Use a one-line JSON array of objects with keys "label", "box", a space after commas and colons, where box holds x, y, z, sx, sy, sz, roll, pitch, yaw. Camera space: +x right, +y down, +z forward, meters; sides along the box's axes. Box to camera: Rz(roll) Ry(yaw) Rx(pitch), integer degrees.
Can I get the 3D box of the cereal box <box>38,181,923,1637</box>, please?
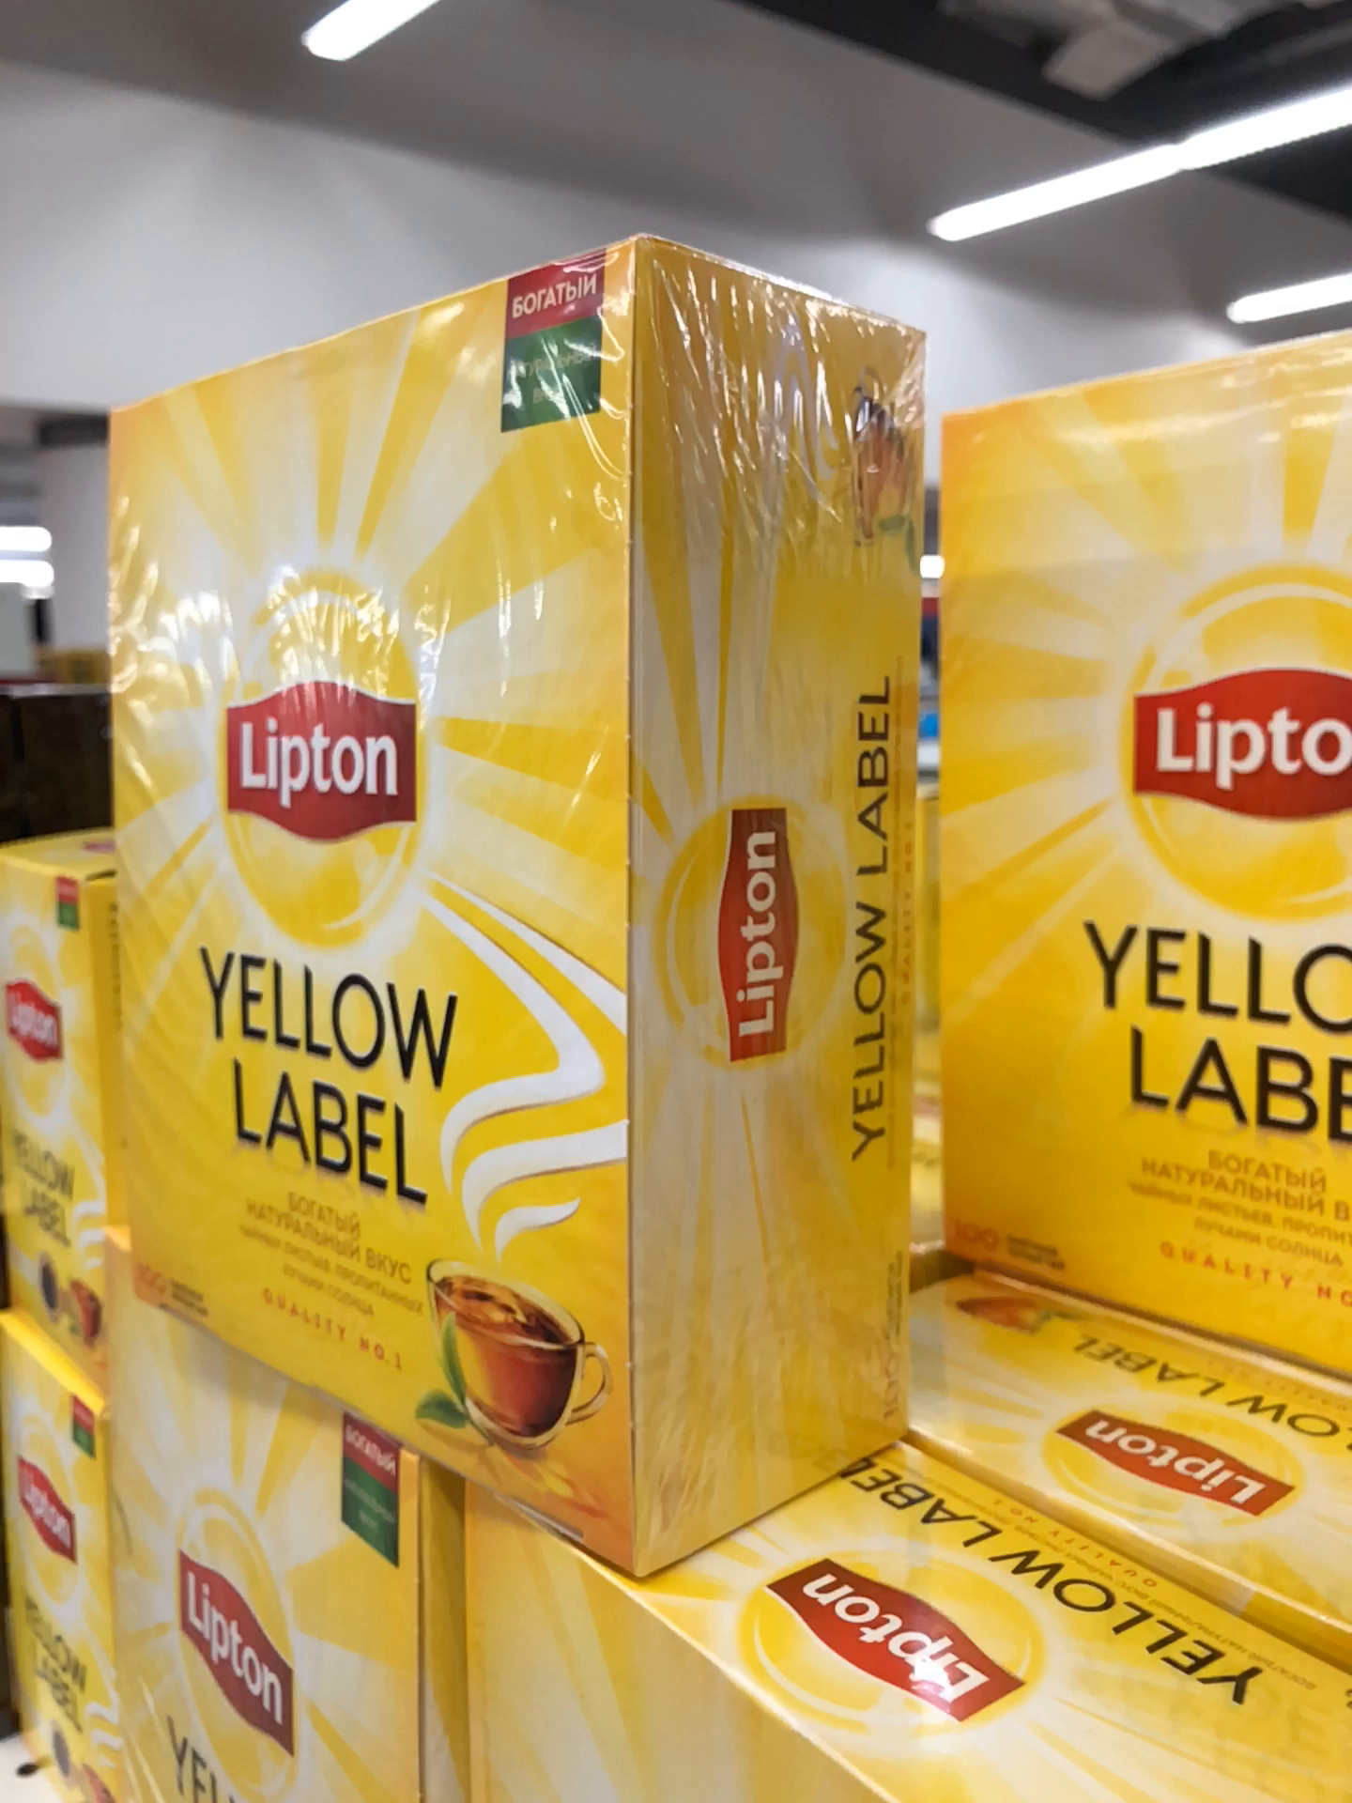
[{"label": "cereal box", "box": [-0.039, -0.003, 0.250, 0.070, 0.170, 0.140, -5, 7, -44]}]
